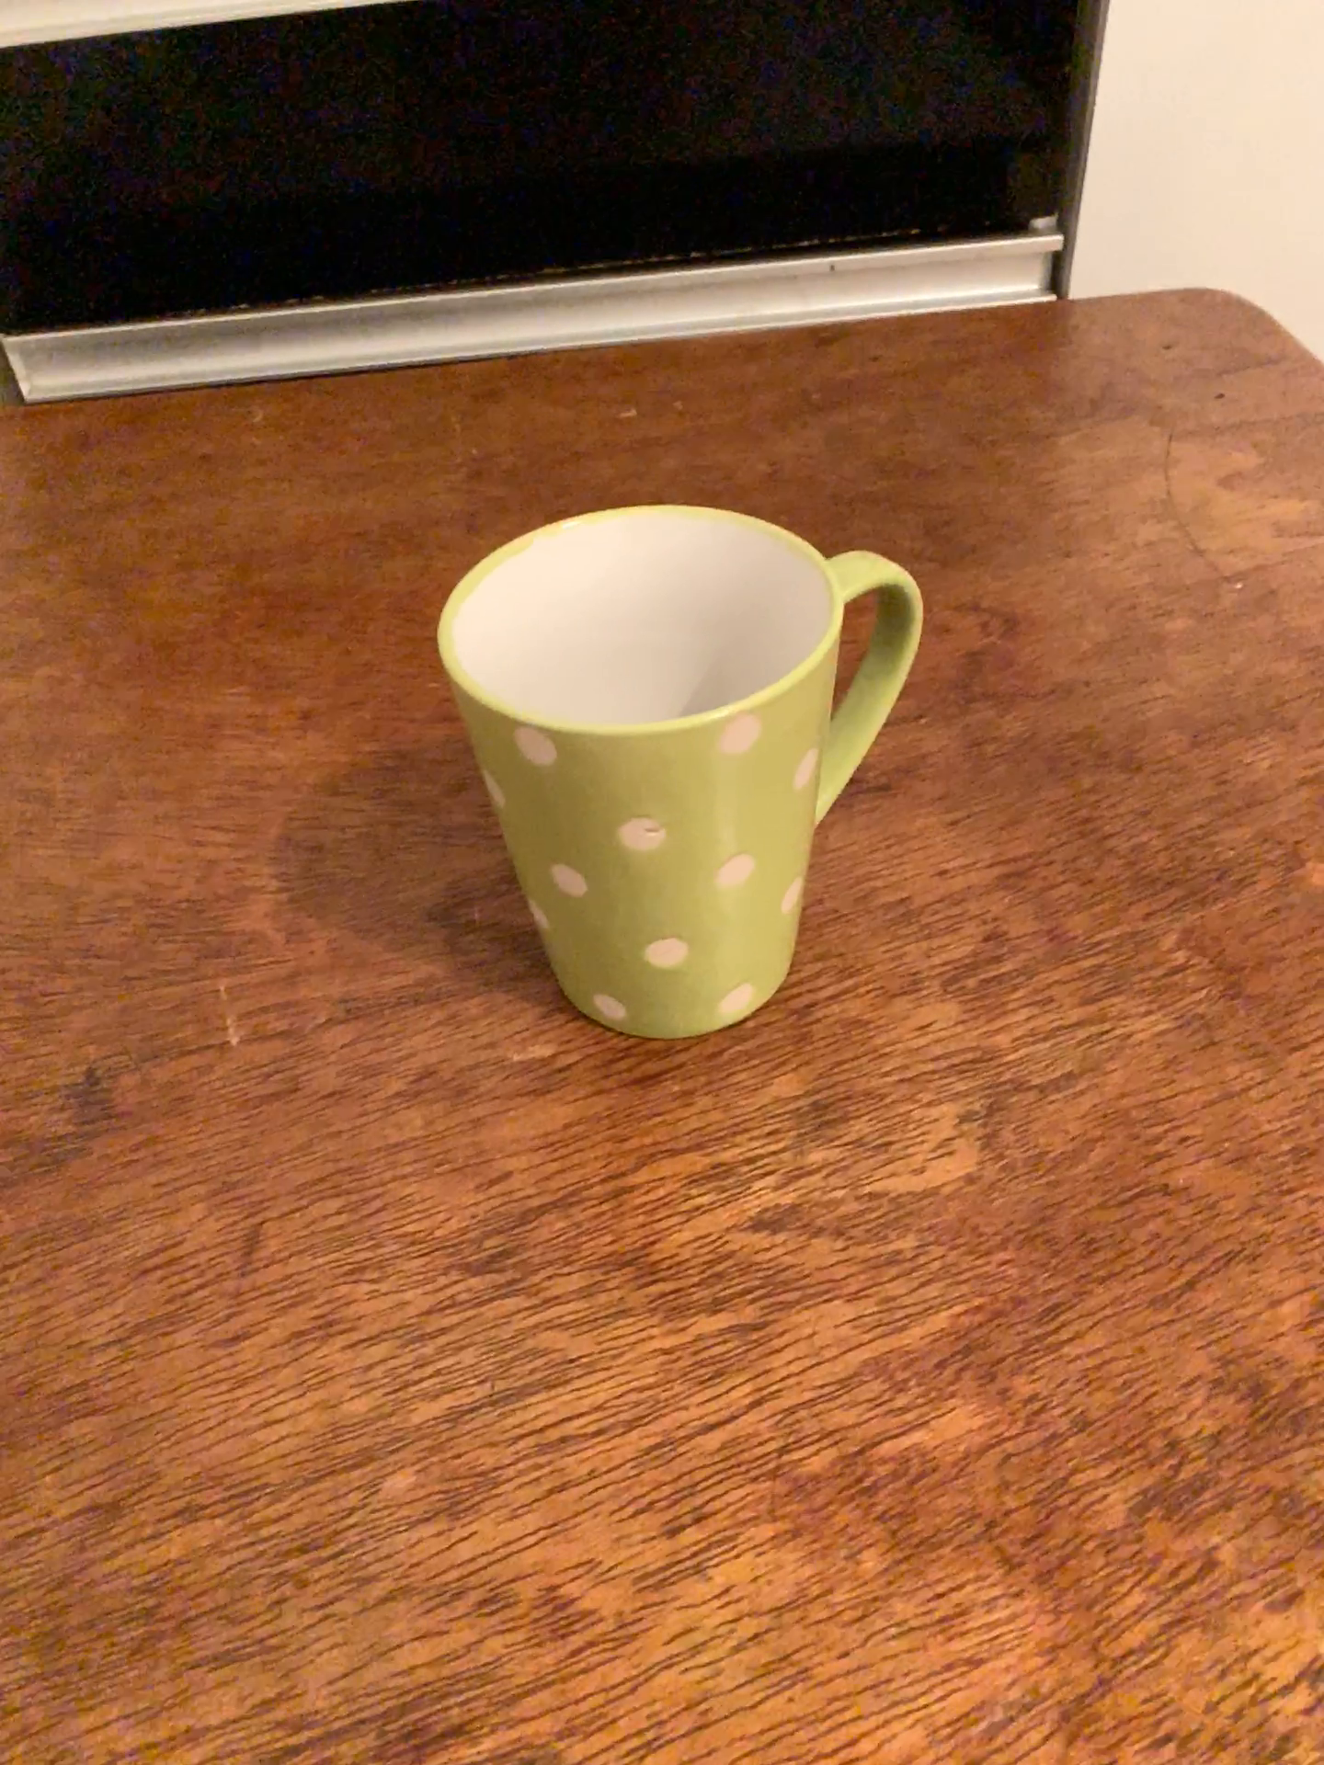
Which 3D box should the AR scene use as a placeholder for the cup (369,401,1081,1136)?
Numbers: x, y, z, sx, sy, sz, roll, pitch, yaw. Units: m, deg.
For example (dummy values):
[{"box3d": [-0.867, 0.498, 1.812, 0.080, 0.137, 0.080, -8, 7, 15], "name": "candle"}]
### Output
[{"box3d": [0.017, -0.032, 0.319, 0.120, 0.099, 0.090, -34, 50, -27], "name": "cup"}]
